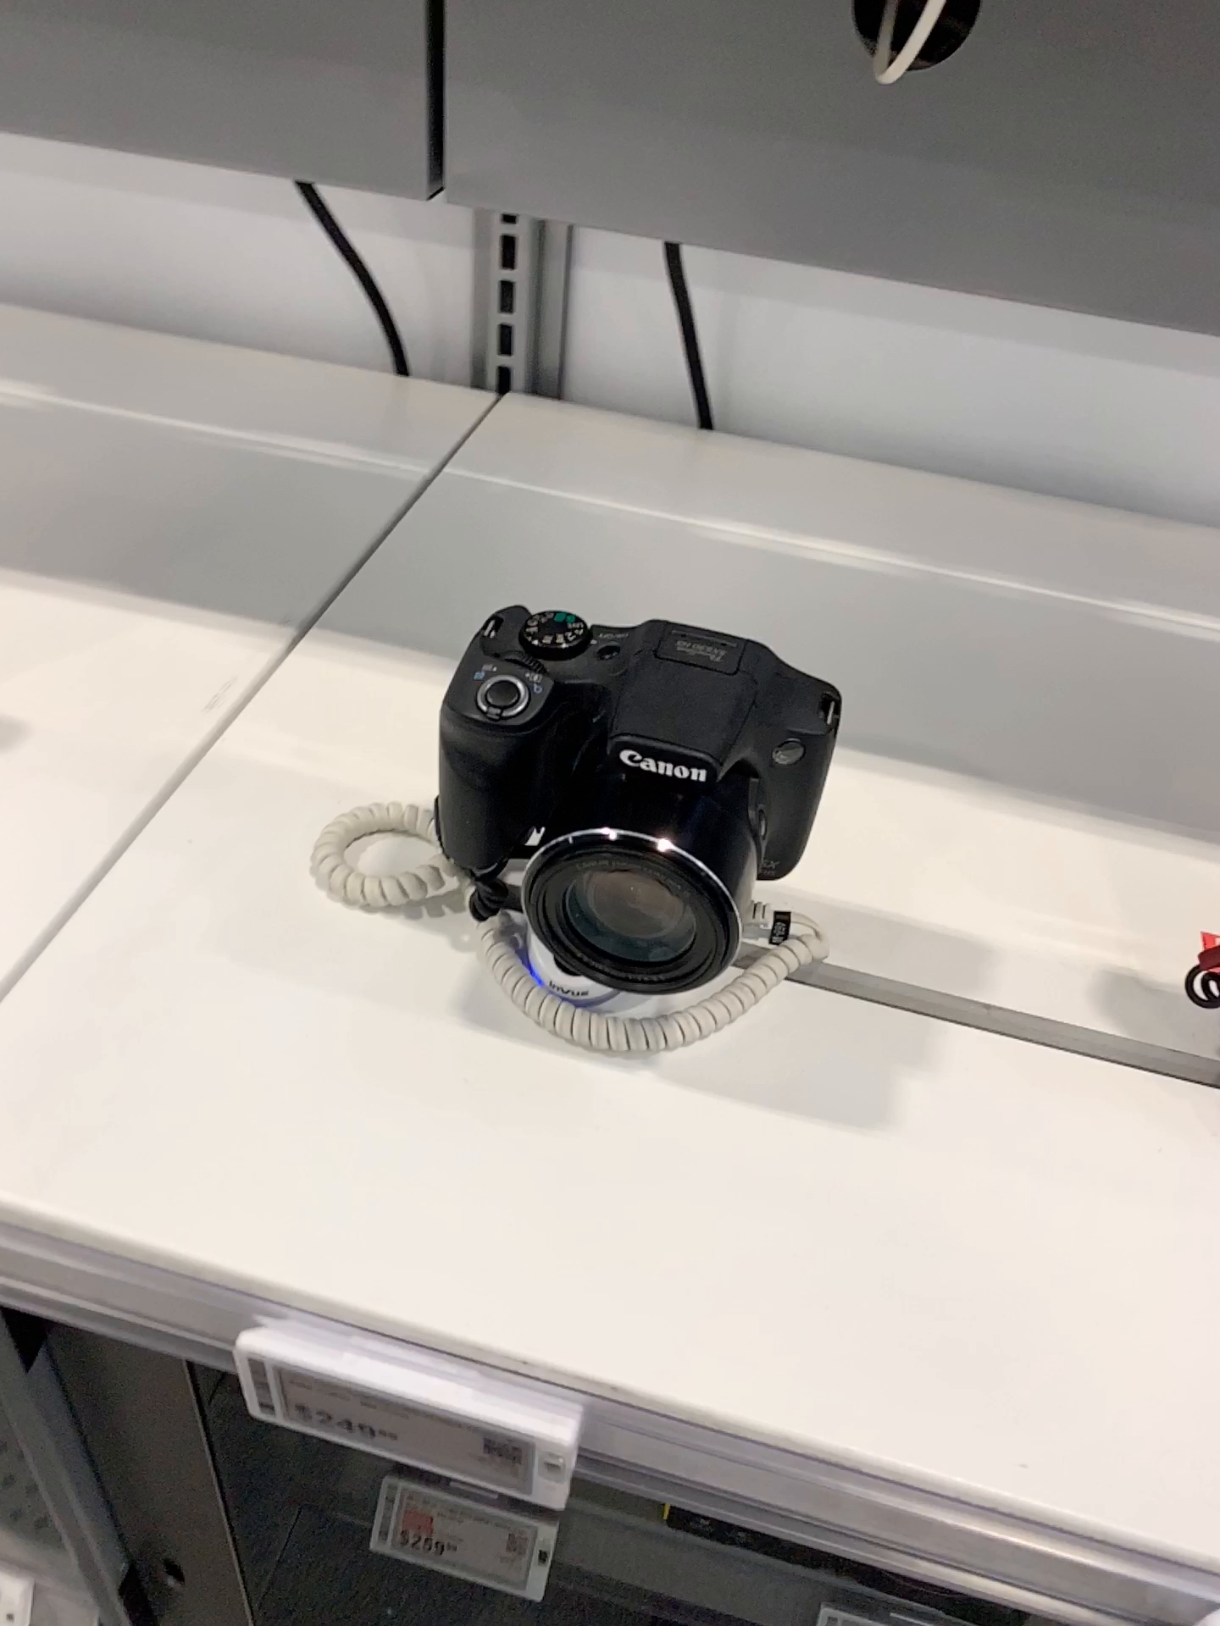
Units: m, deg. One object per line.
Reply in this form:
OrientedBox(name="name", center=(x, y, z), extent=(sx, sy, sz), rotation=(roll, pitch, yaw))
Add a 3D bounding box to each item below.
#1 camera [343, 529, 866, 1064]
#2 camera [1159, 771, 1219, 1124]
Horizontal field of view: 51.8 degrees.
OrientedBox(name="camera", center=(0.001, -0.008, 0.362), extent=(0.120, 0.089, 0.101), rotation=(12, 40, 7))
OrientedBox(name="camera", center=(0.236, 0.039, 0.366), extent=(0.120, 0.070, 0.040), rotation=(12, 40, 7))
